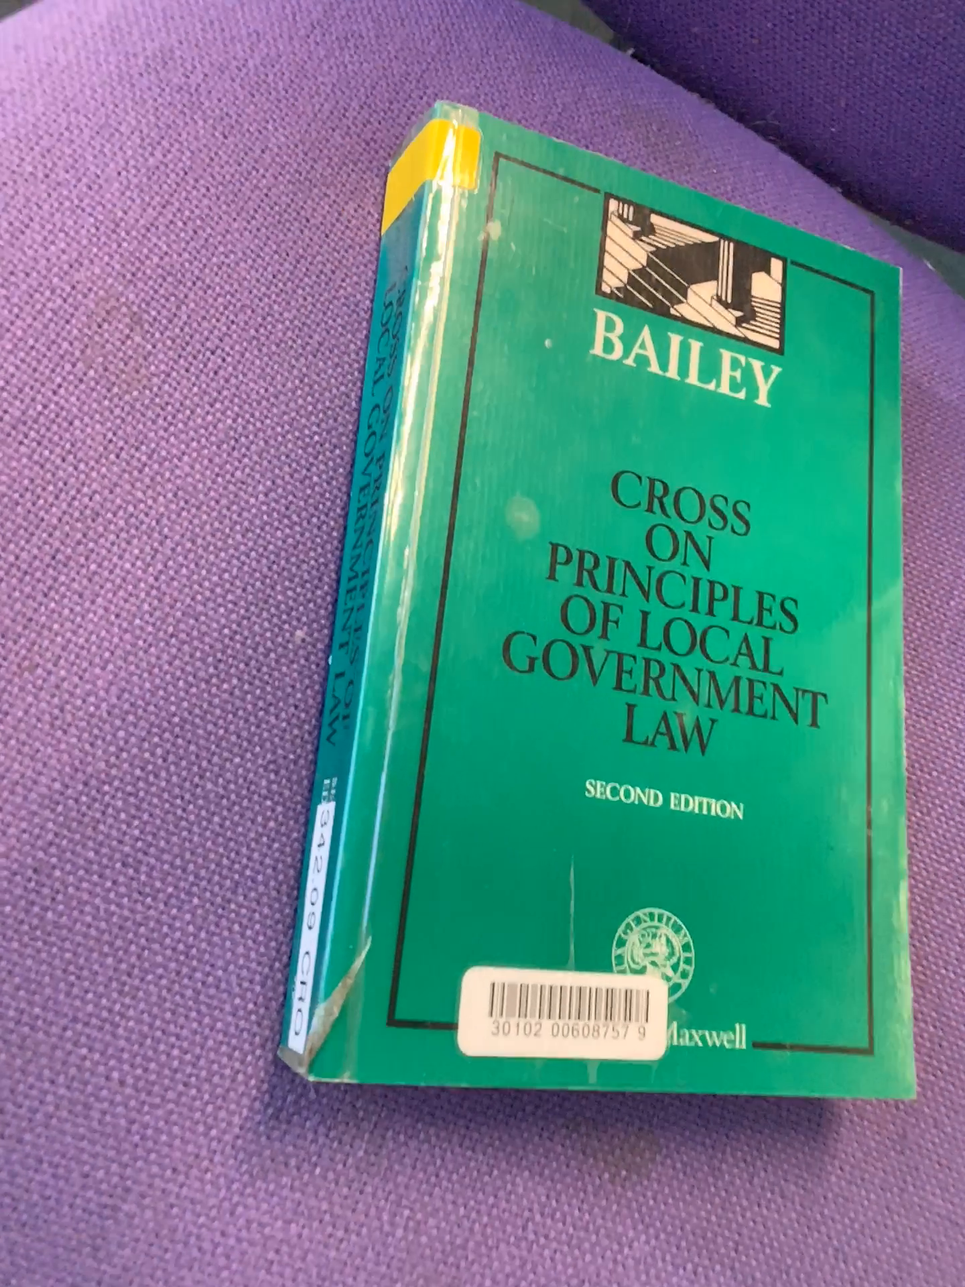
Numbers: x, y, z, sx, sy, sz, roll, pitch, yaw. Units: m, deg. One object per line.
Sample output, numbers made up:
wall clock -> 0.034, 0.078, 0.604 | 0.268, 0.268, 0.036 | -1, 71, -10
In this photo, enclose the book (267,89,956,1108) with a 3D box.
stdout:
book -> 0.042, -0.009, 0.265 | 0.160, 0.040, 0.236 | 10, 73, -20
